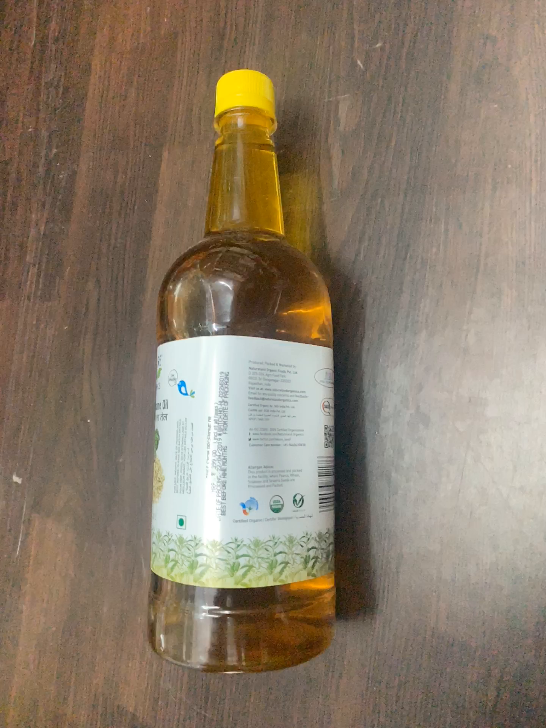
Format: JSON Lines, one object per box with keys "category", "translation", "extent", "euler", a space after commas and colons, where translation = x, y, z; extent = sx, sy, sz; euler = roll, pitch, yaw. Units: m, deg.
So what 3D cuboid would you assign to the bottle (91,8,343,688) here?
{"category": "bottle", "translation": [-0.024, -0.009, 0.266], "extent": [0.080, 0.090, 0.270], "euler": [144, 129, -78]}
